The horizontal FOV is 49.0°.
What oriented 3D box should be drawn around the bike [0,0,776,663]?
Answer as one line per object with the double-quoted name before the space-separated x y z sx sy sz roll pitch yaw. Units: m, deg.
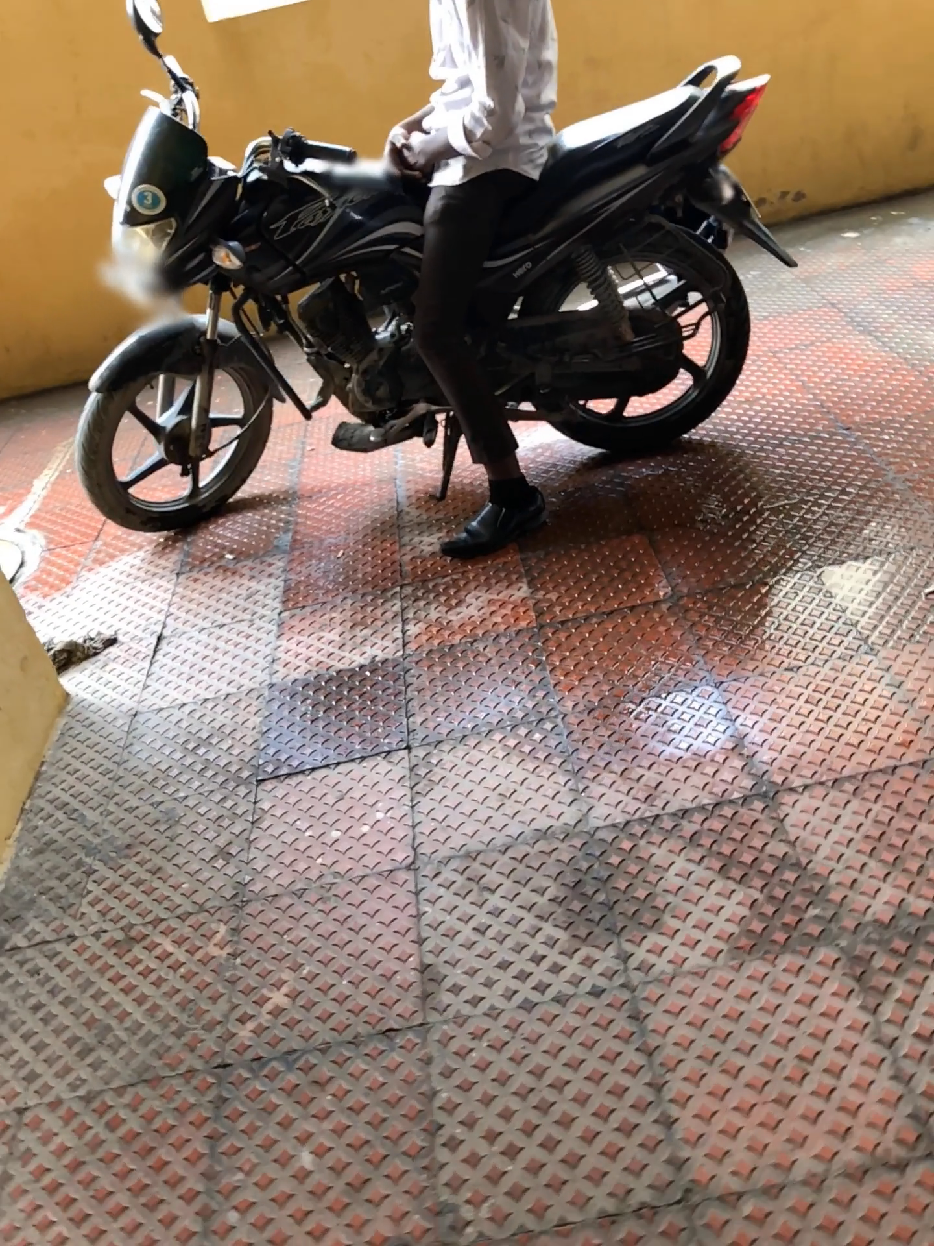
"bike" -0.232 -0.822 2.617 1.875 1.185 0.814 -12 35 2
